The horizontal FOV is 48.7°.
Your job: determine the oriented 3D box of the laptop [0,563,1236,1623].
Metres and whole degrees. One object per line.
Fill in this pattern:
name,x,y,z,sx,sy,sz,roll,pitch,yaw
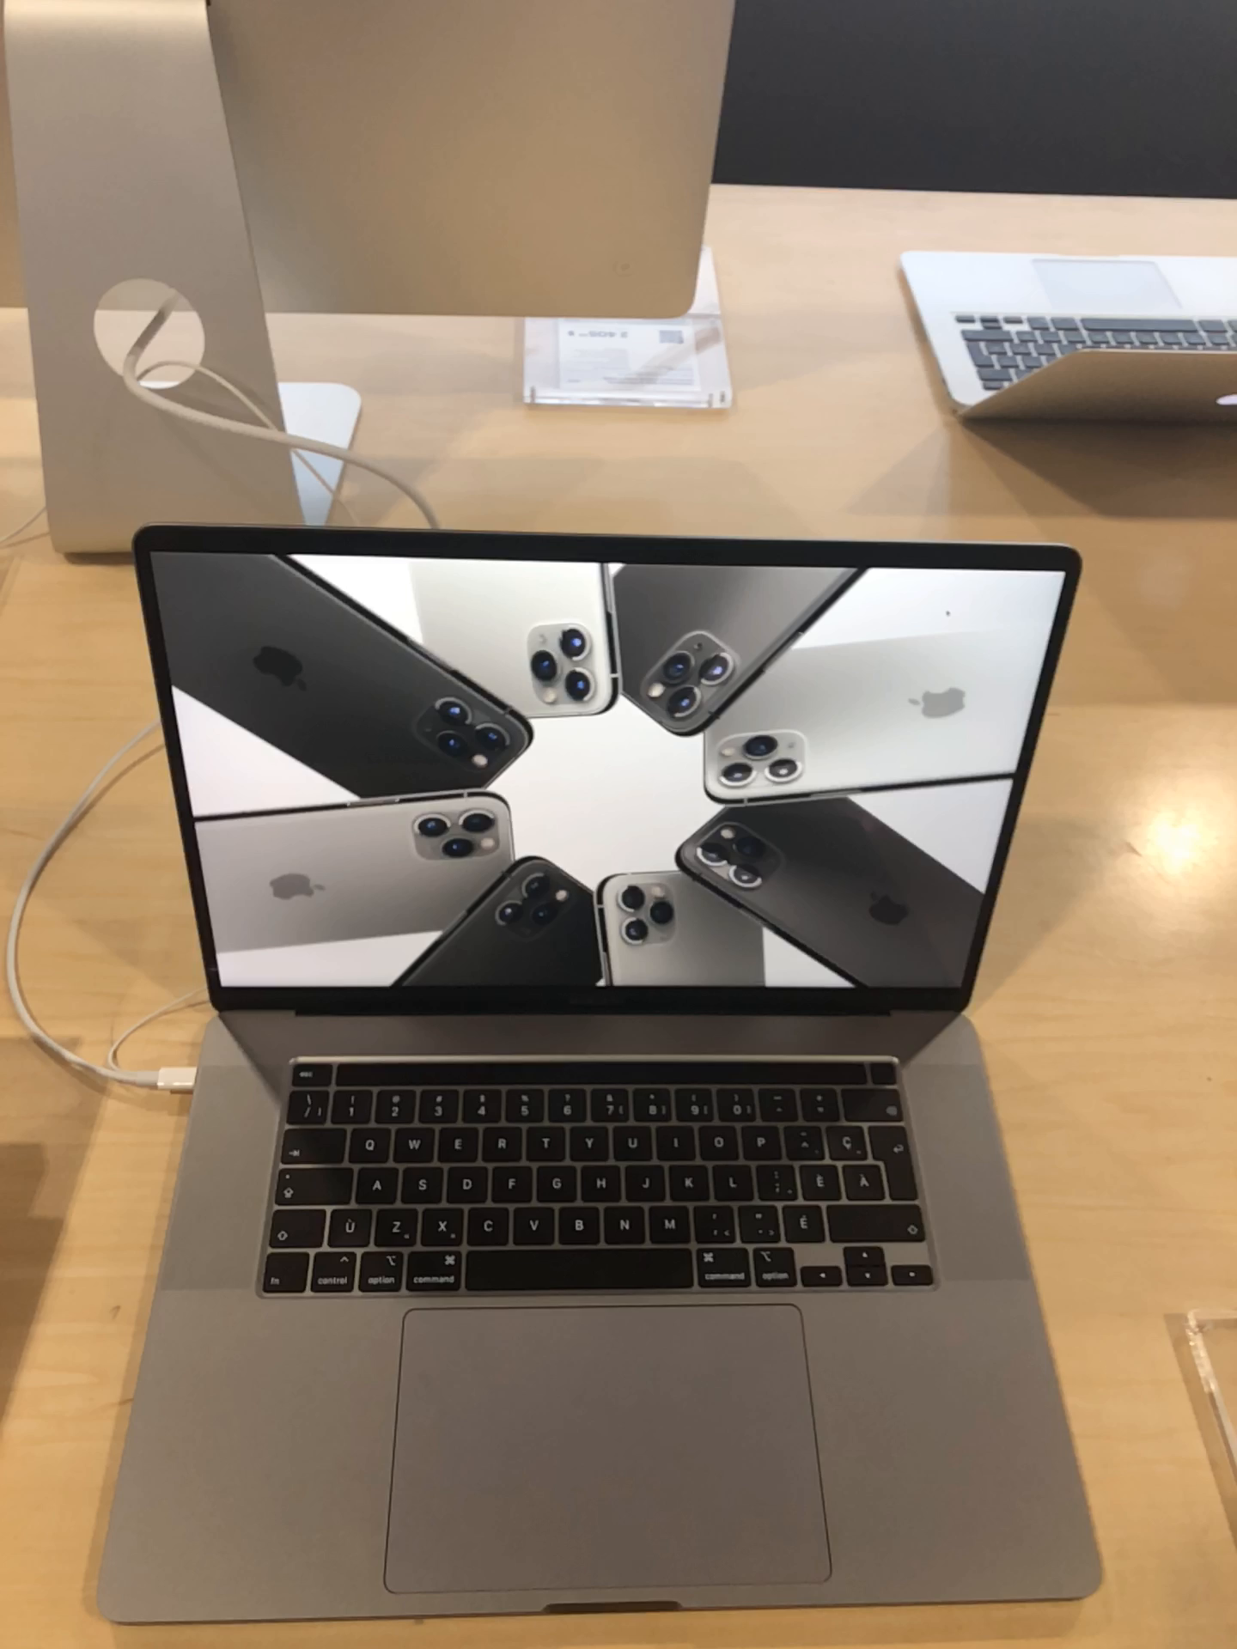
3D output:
laptop,0.001,0.088,0.486,0.344,0.227,0.292,0,49,-3
